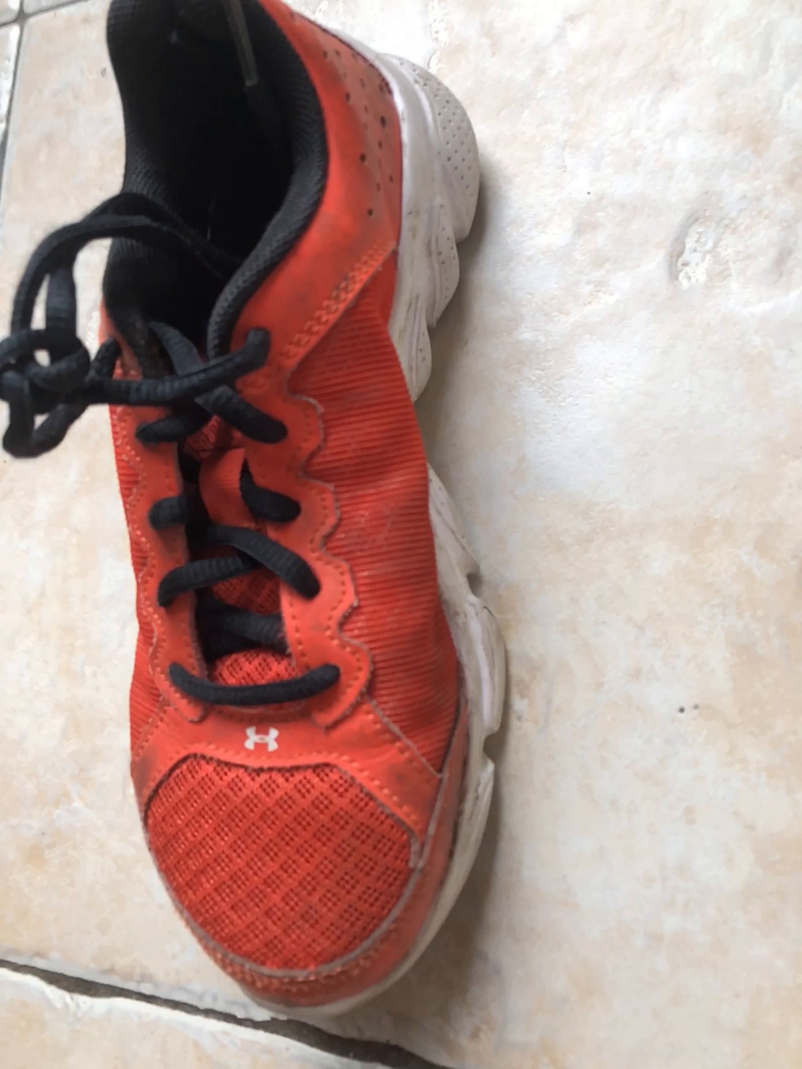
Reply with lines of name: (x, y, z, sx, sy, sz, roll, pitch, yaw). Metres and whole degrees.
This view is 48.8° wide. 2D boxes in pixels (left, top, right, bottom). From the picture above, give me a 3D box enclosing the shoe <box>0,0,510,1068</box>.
shoe: (-0.041, -0.015, 0.185, 0.100, 0.100, 0.240, -2, 81, 24)
